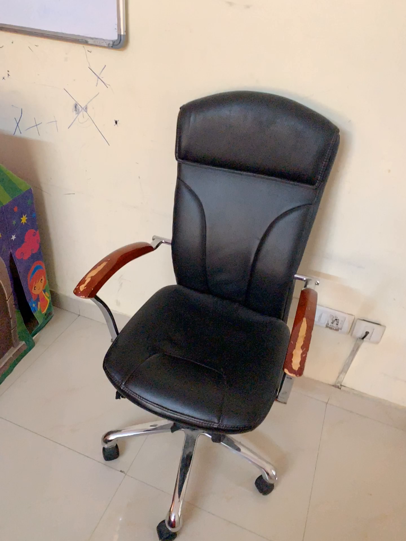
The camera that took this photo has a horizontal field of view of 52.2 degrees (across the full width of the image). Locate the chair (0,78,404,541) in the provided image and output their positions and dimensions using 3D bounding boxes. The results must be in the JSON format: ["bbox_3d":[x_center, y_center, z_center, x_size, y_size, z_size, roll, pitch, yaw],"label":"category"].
[{"bbox_3d":[0.015,0.139,1.197,0.701,1.081,0.756,17,37,16],"label":"chair"}]
